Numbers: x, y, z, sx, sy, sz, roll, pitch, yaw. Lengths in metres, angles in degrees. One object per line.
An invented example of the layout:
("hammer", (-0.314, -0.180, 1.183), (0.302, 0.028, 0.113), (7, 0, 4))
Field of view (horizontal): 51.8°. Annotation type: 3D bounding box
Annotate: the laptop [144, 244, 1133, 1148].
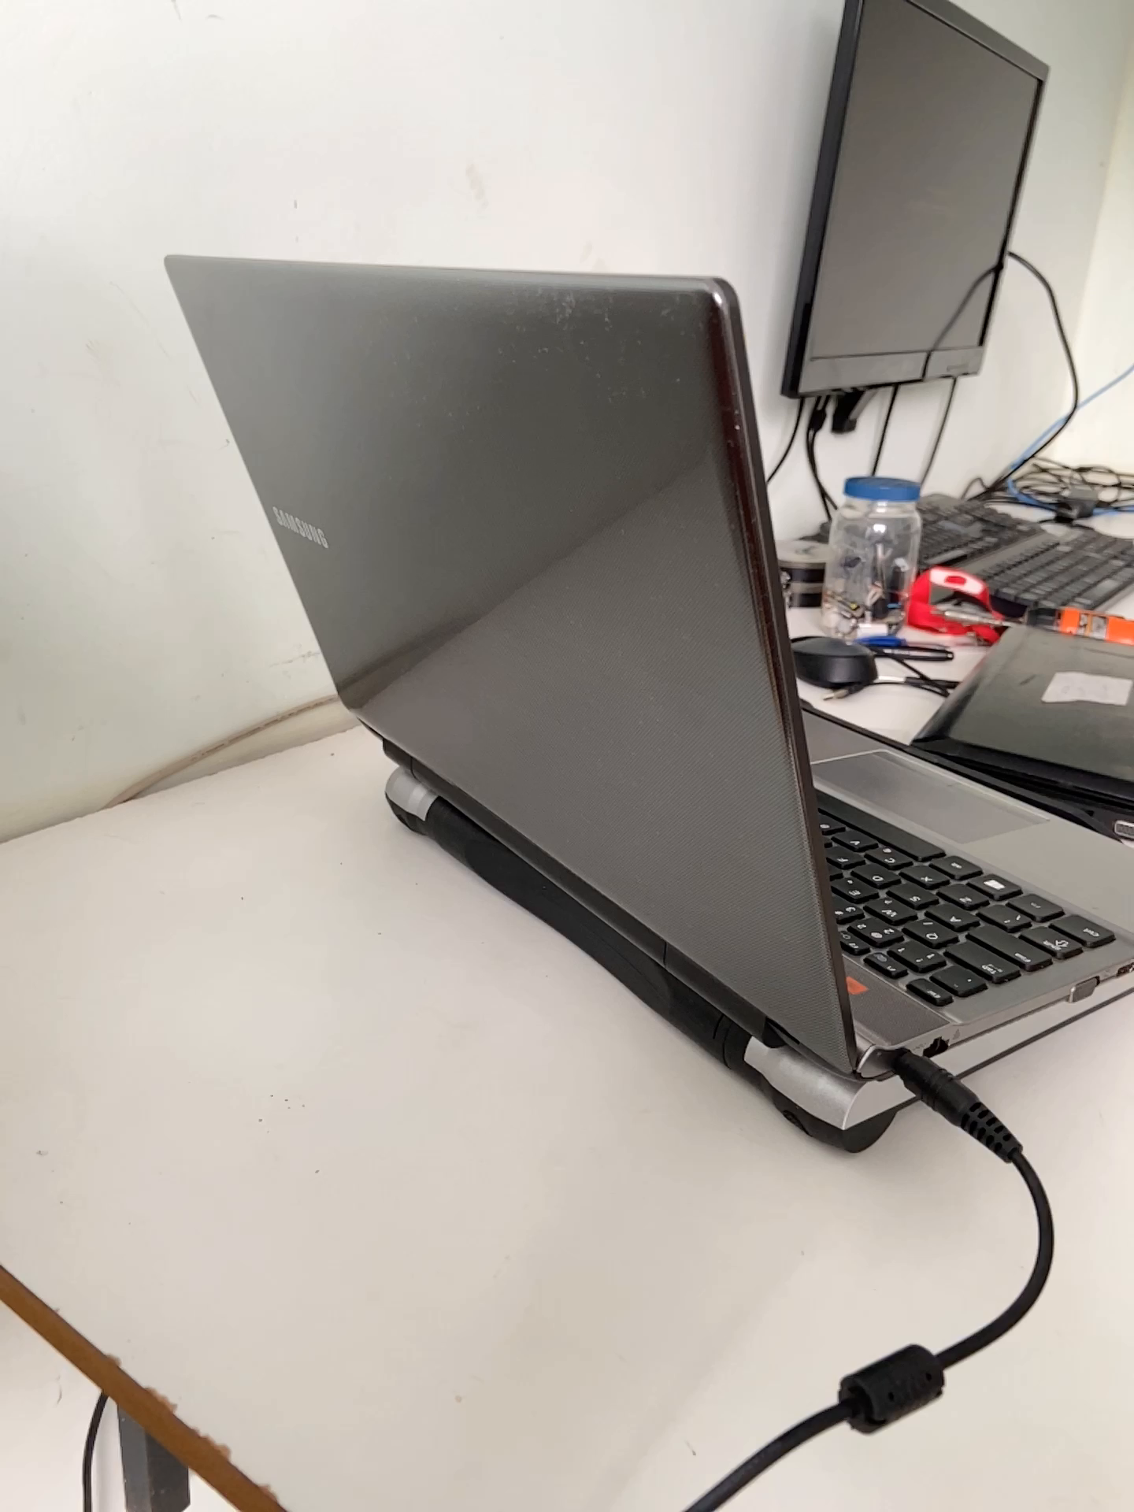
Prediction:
("laptop", (0.052, -0.080, 0.496), (0.335, 0.213, 0.368), (-9, 25, -34))
